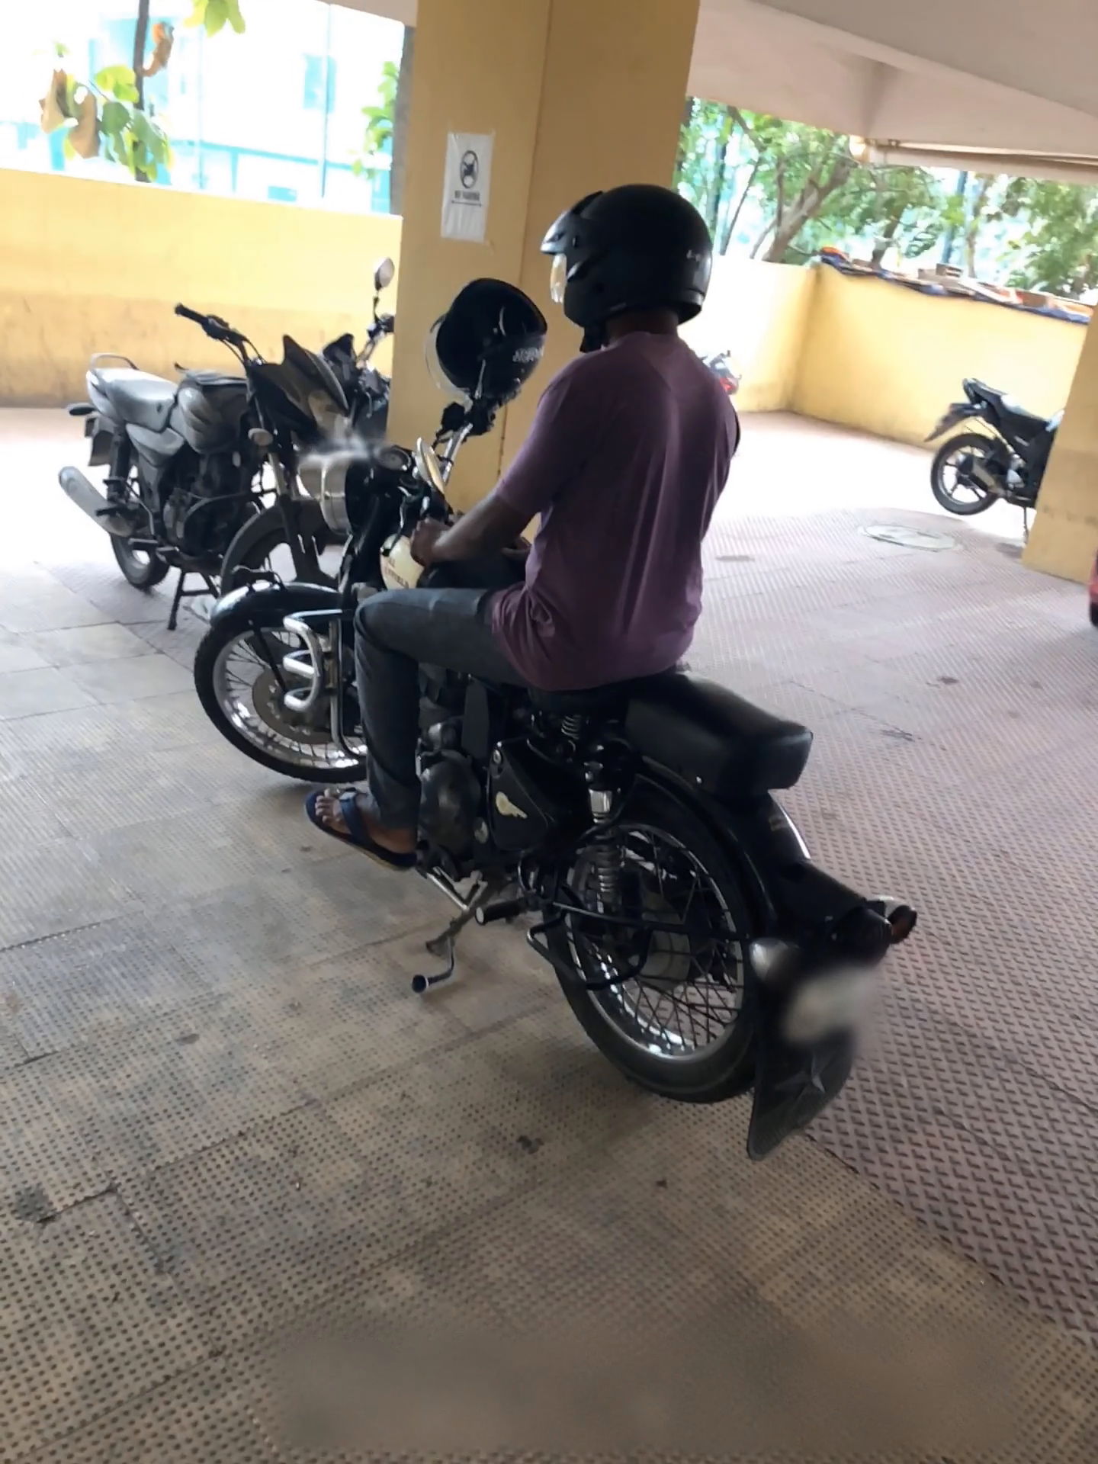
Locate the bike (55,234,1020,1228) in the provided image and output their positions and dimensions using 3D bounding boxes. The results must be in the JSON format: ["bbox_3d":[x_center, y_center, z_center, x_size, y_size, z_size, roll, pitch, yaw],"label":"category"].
[{"bbox_3d":[-0.188,-0.170,2.442,1.766,1.097,0.728,32,32,34],"label":"bike"}]
